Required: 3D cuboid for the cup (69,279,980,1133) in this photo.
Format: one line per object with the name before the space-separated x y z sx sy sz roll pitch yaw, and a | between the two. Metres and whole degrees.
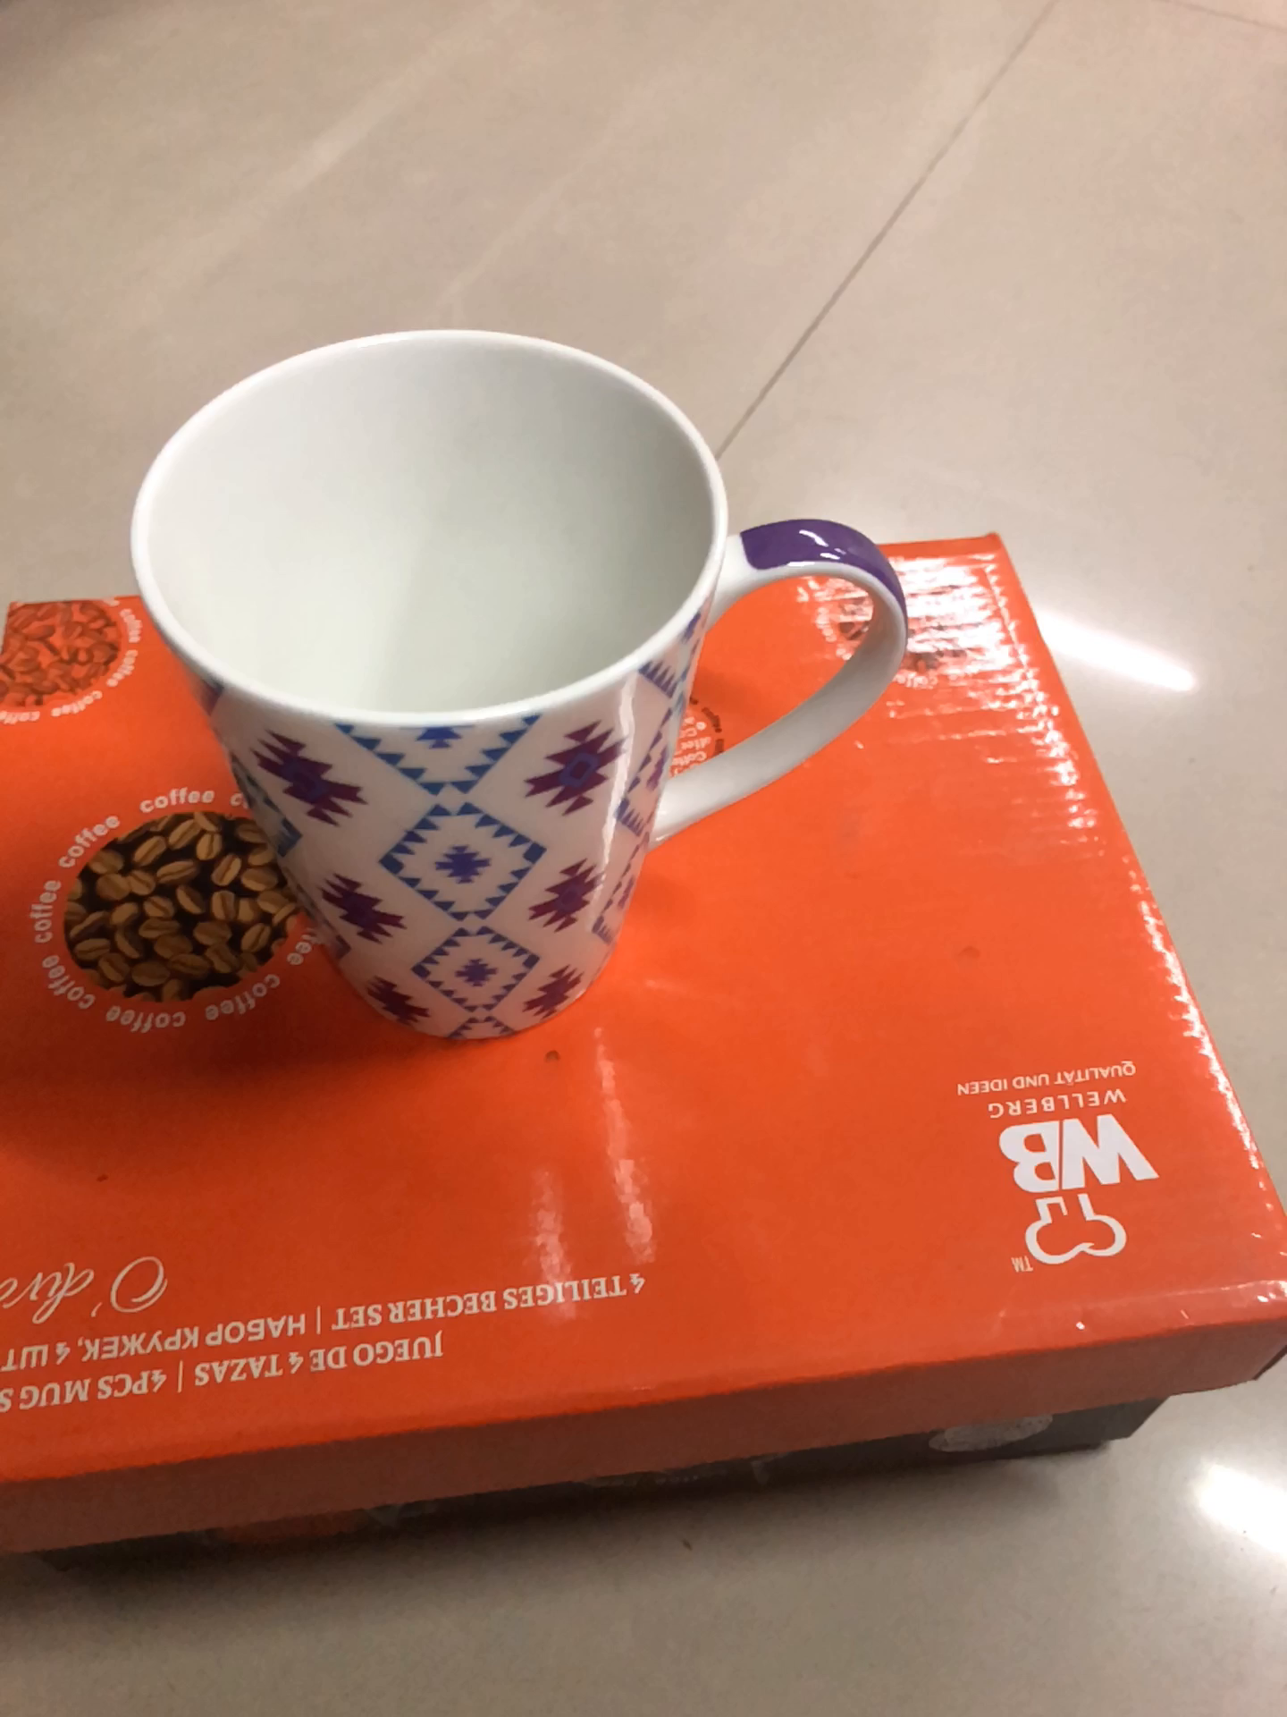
cup | -0.021 -0.022 0.236 0.110 0.099 0.080 -8 55 -8
